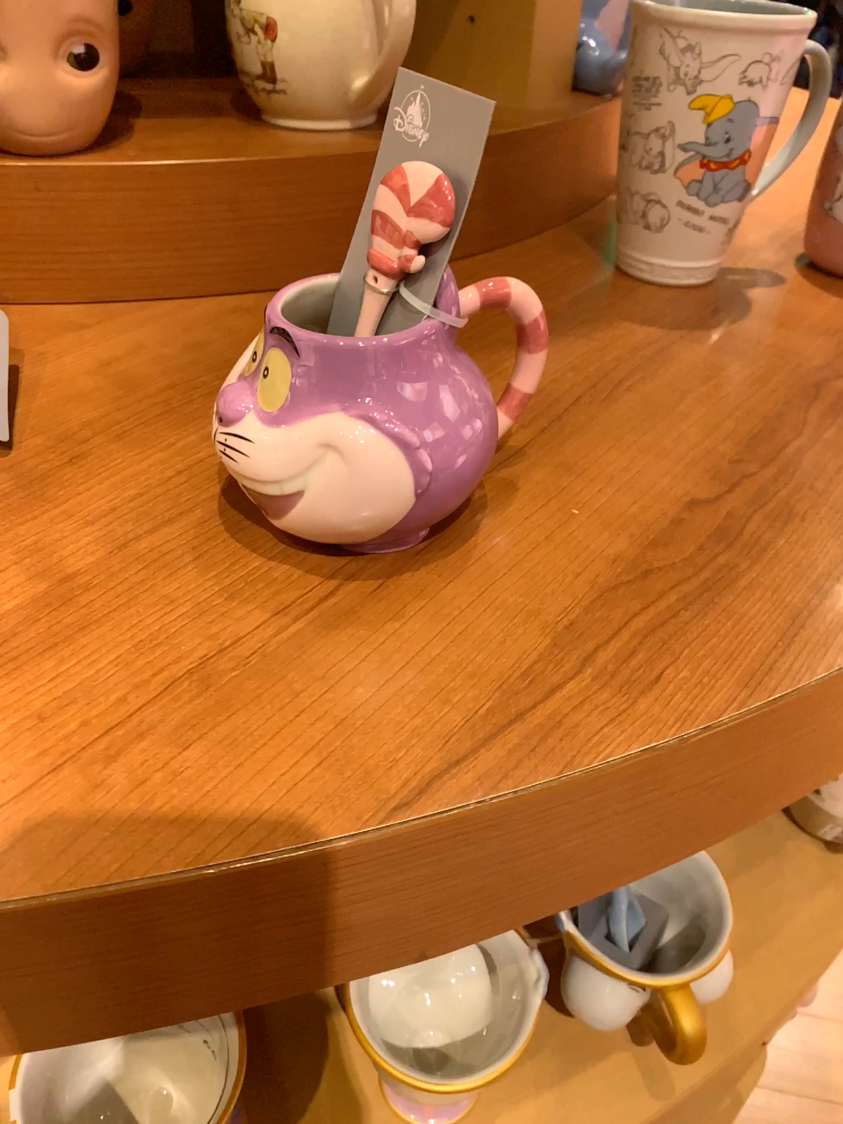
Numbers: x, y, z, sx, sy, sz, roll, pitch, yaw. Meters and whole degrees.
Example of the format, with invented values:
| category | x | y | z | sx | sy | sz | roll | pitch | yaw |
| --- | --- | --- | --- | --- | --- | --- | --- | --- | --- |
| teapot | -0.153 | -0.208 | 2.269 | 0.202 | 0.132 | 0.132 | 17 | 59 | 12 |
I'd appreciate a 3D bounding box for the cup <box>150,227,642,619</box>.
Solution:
| category | x | y | z | sx | sy | sz | roll | pitch | yaw |
| --- | --- | --- | --- | --- | --- | --- | --- | --- | --- |
| cup | -0.009 | -0.066 | 0.345 | 0.143 | 0.077 | 0.115 | -29 | 47 | -35 |
